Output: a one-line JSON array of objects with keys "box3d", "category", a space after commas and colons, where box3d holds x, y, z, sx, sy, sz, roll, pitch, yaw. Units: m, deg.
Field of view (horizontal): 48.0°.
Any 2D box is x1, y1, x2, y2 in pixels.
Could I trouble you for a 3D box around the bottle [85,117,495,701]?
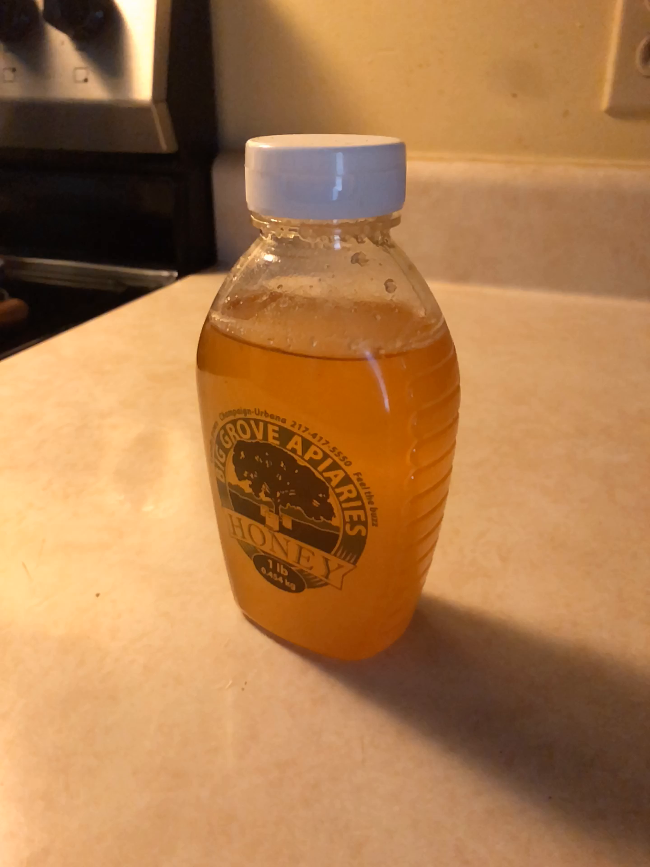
[{"box3d": [-0.007, -0.012, 0.207, 0.080, 0.140, 0.060, 15, 29, 29], "category": "bottle"}]
